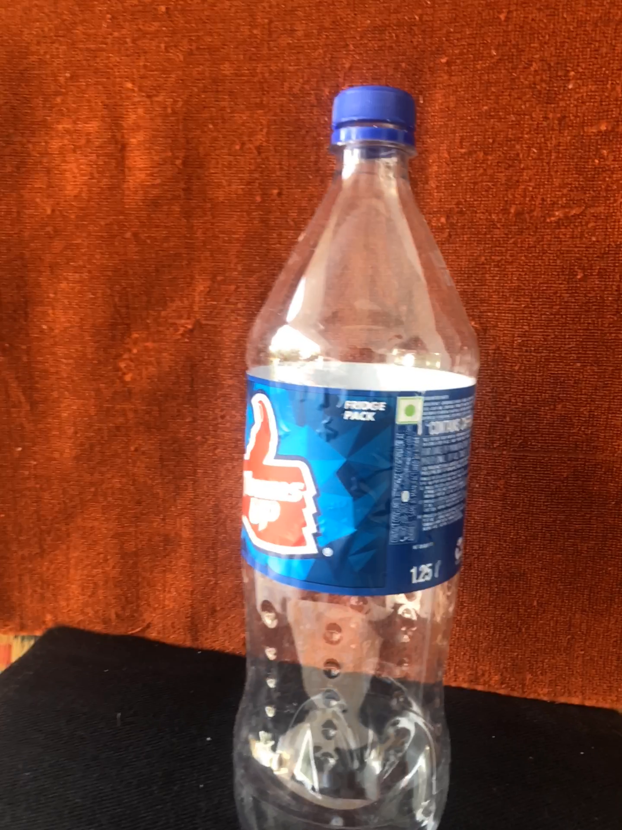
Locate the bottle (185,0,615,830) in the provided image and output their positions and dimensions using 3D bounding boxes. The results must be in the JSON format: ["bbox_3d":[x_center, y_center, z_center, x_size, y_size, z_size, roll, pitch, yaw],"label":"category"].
[{"bbox_3d":[0.020,0.017,0.254,0.090,0.289,0.100,-5,15,-36],"label":"bottle"}]
